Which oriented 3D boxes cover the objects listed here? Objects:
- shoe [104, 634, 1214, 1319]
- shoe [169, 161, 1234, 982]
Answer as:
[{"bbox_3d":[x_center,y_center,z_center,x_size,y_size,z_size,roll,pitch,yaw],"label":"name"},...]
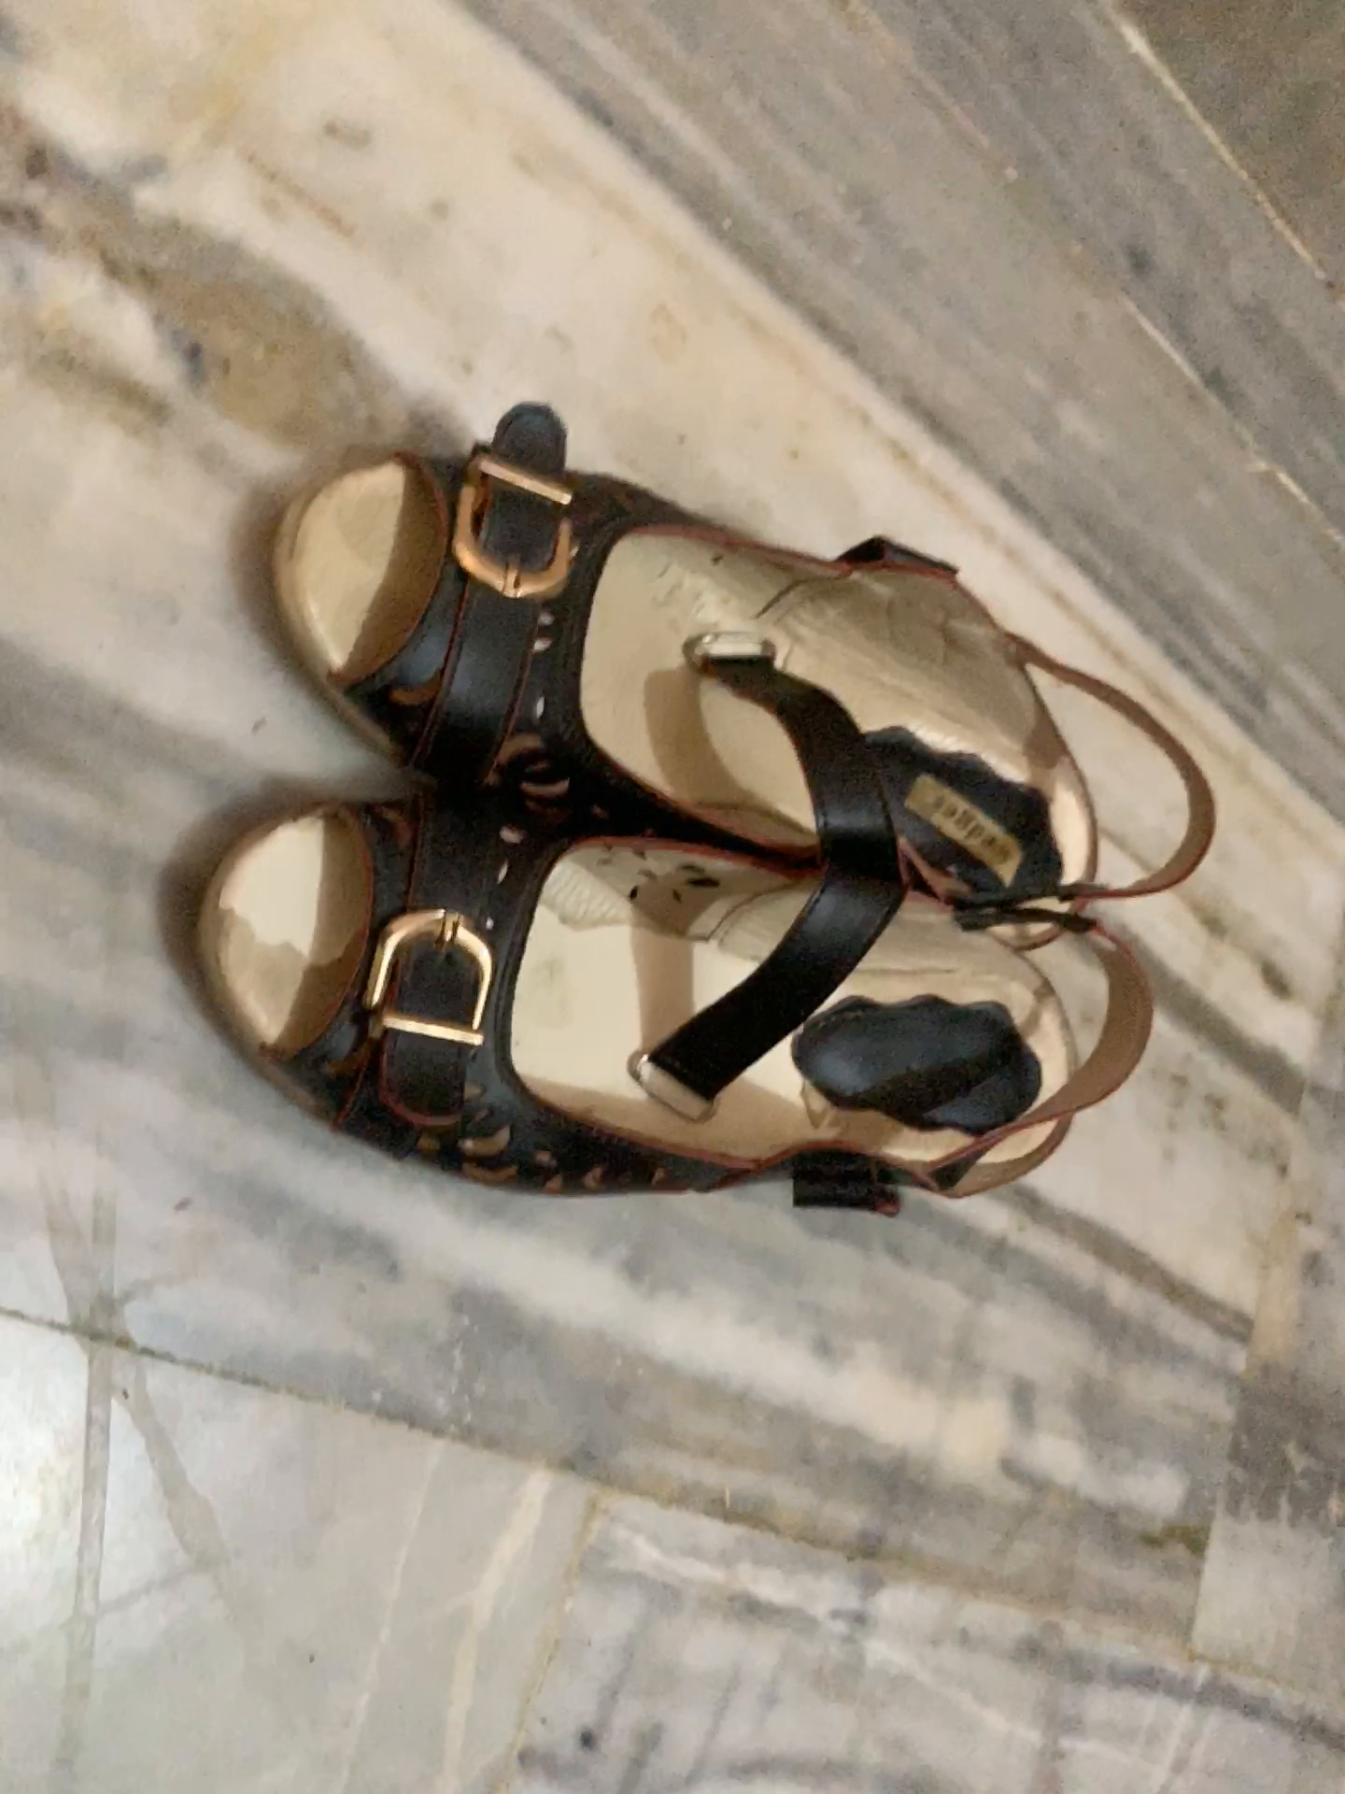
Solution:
[{"bbox_3d":[0.013,0.036,0.354,0.261,0.100,0.100,17,77,-34],"label":"shoe"},{"bbox_3d":[0.023,-0.055,0.366,0.261,0.100,0.100,17,77,-34],"label":"shoe"}]
